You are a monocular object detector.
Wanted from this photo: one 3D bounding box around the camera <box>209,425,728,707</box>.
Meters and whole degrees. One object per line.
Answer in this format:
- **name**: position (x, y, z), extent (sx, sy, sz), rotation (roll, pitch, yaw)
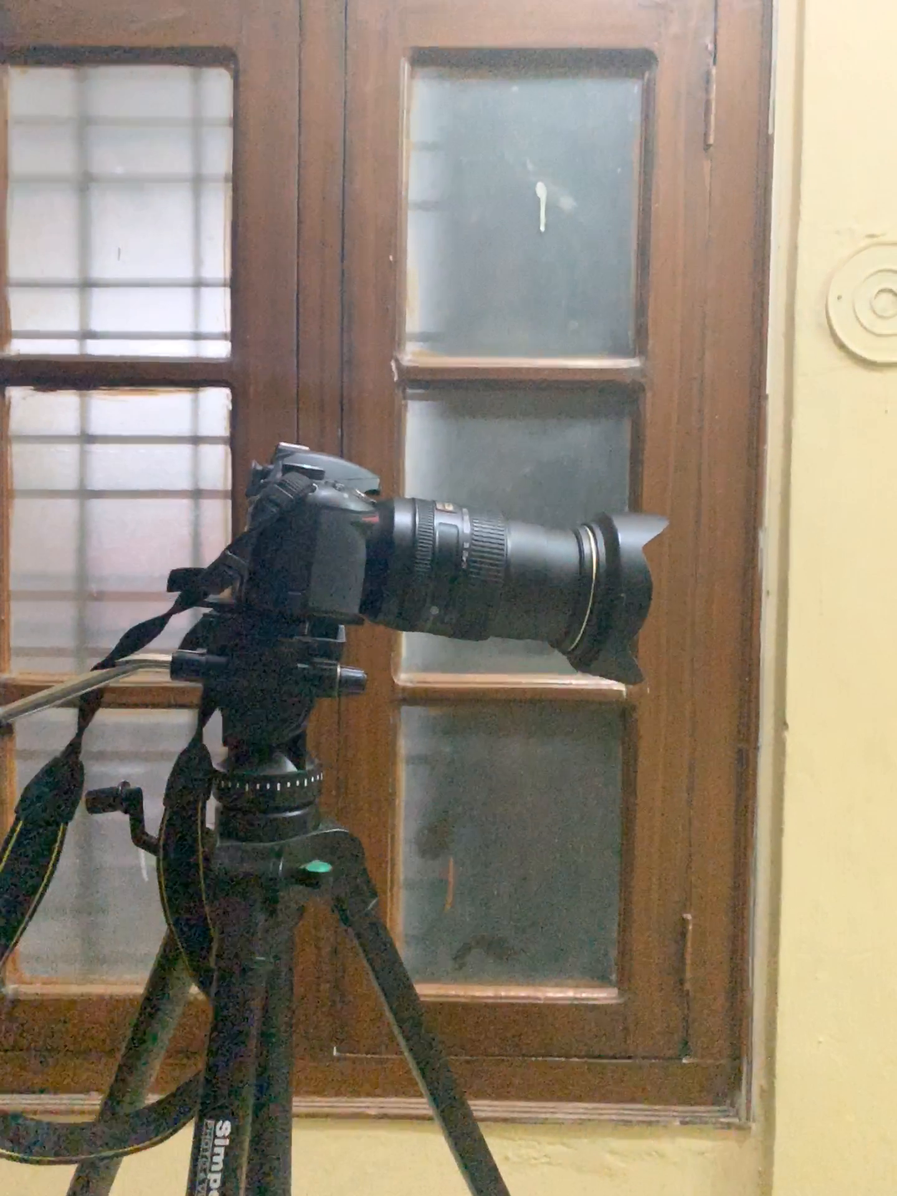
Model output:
- **camera**: position (0.008, -0.019, 0.563), extent (0.270, 0.120, 0.130), rotation (7, 2, -6)
